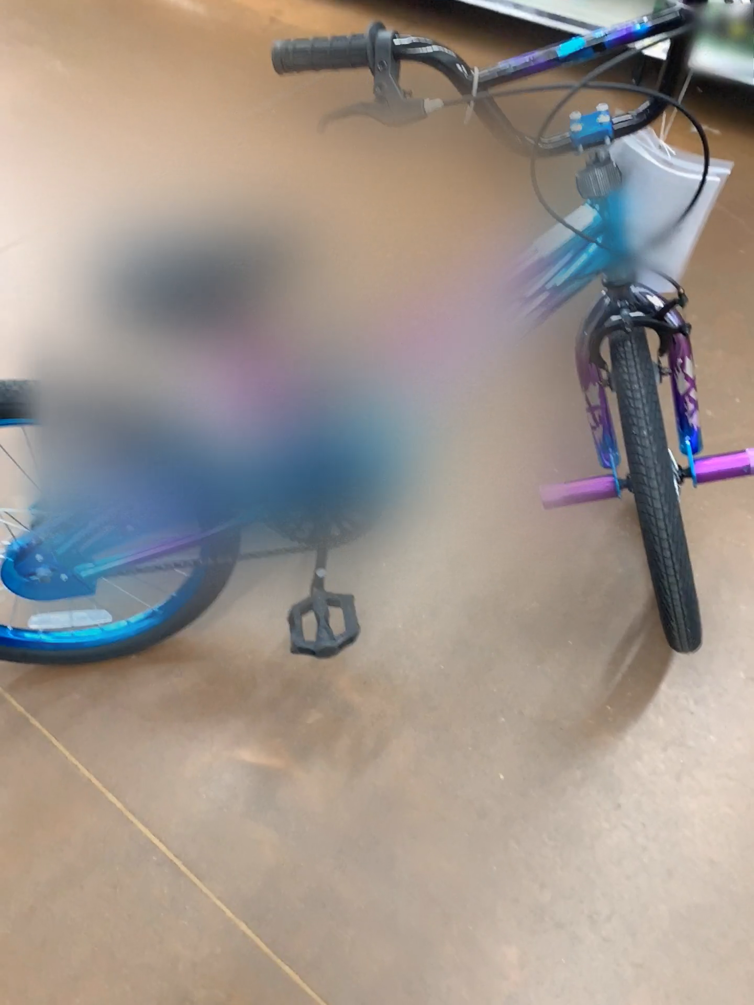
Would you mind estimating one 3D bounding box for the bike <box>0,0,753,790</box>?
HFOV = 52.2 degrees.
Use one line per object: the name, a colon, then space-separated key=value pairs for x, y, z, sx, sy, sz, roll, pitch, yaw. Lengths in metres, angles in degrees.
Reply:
bike: x=-0.216 y=-0.189 z=0.881 sx=0.934 sy=0.932 sz=0.580 roll=-6 pitch=52 yaw=-6
